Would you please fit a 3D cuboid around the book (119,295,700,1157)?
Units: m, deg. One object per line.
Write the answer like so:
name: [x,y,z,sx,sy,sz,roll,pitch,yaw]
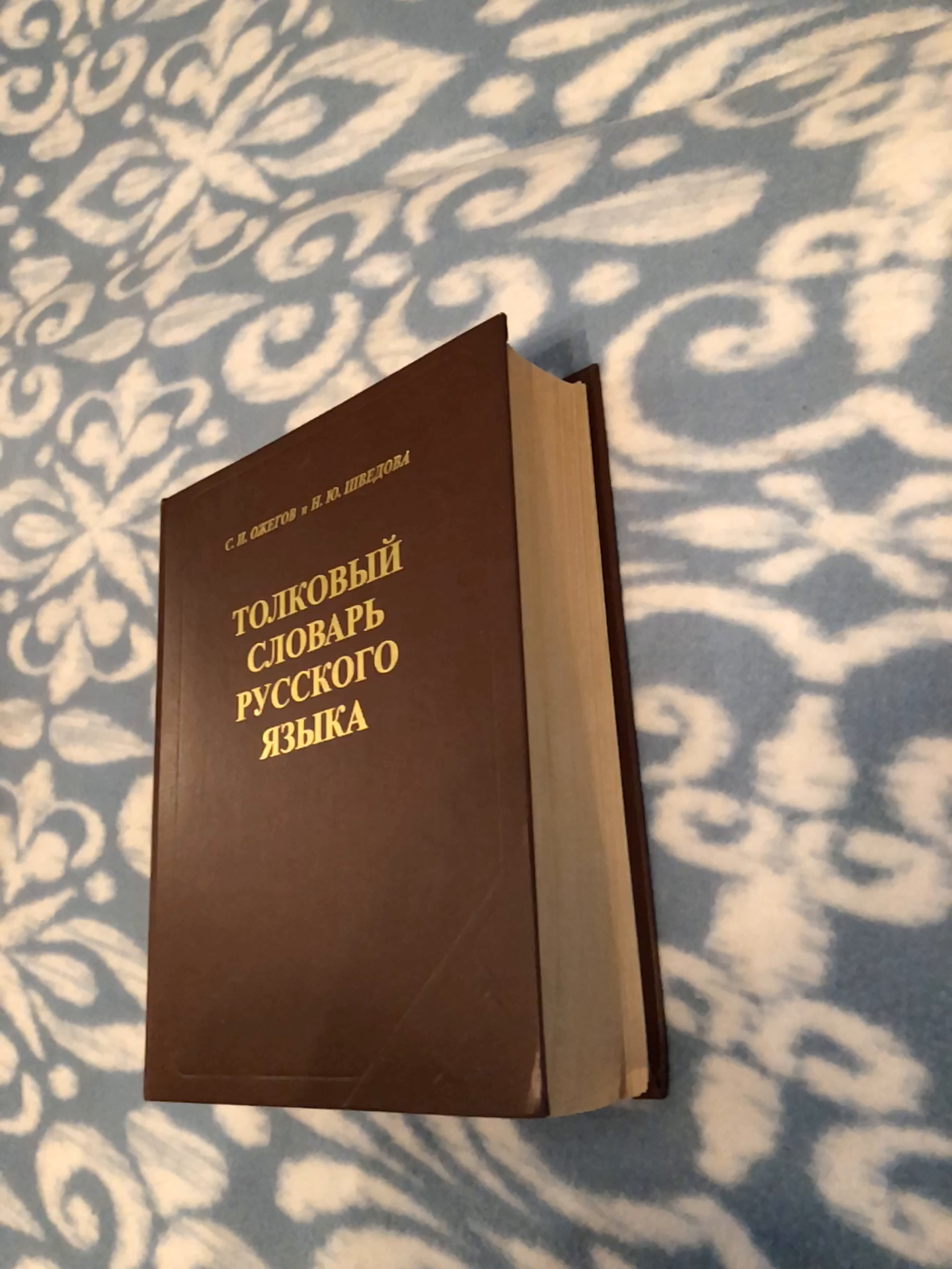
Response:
book: [-0.041,0.043,0.413,0.221,0.067,0.270,-17,66,38]
